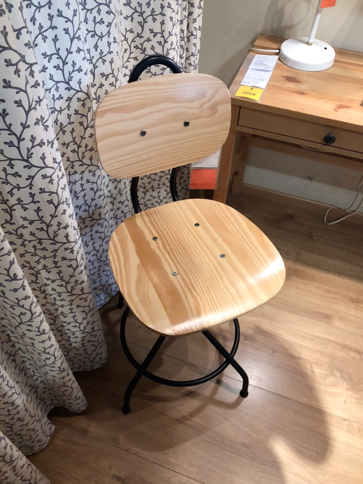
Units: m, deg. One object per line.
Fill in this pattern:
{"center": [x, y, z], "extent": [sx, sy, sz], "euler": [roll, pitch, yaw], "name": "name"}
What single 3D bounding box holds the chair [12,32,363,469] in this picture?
{"center": [0.022, 0.056, 0.983], "extent": [0.521, 0.815, 0.553], "euler": [-20, 52, -18], "name": "chair"}
